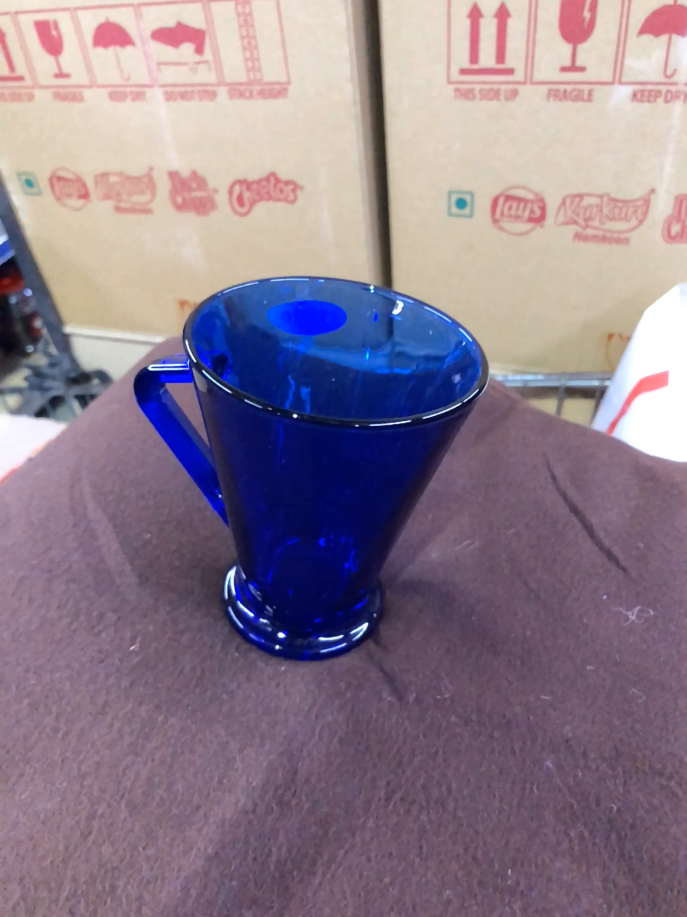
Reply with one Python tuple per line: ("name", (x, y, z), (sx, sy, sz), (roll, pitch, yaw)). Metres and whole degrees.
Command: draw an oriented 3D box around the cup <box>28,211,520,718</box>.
("cup", (-0.019, 0.001, 0.242), (0.110, 0.109, 0.070), (21, 46, 18))
